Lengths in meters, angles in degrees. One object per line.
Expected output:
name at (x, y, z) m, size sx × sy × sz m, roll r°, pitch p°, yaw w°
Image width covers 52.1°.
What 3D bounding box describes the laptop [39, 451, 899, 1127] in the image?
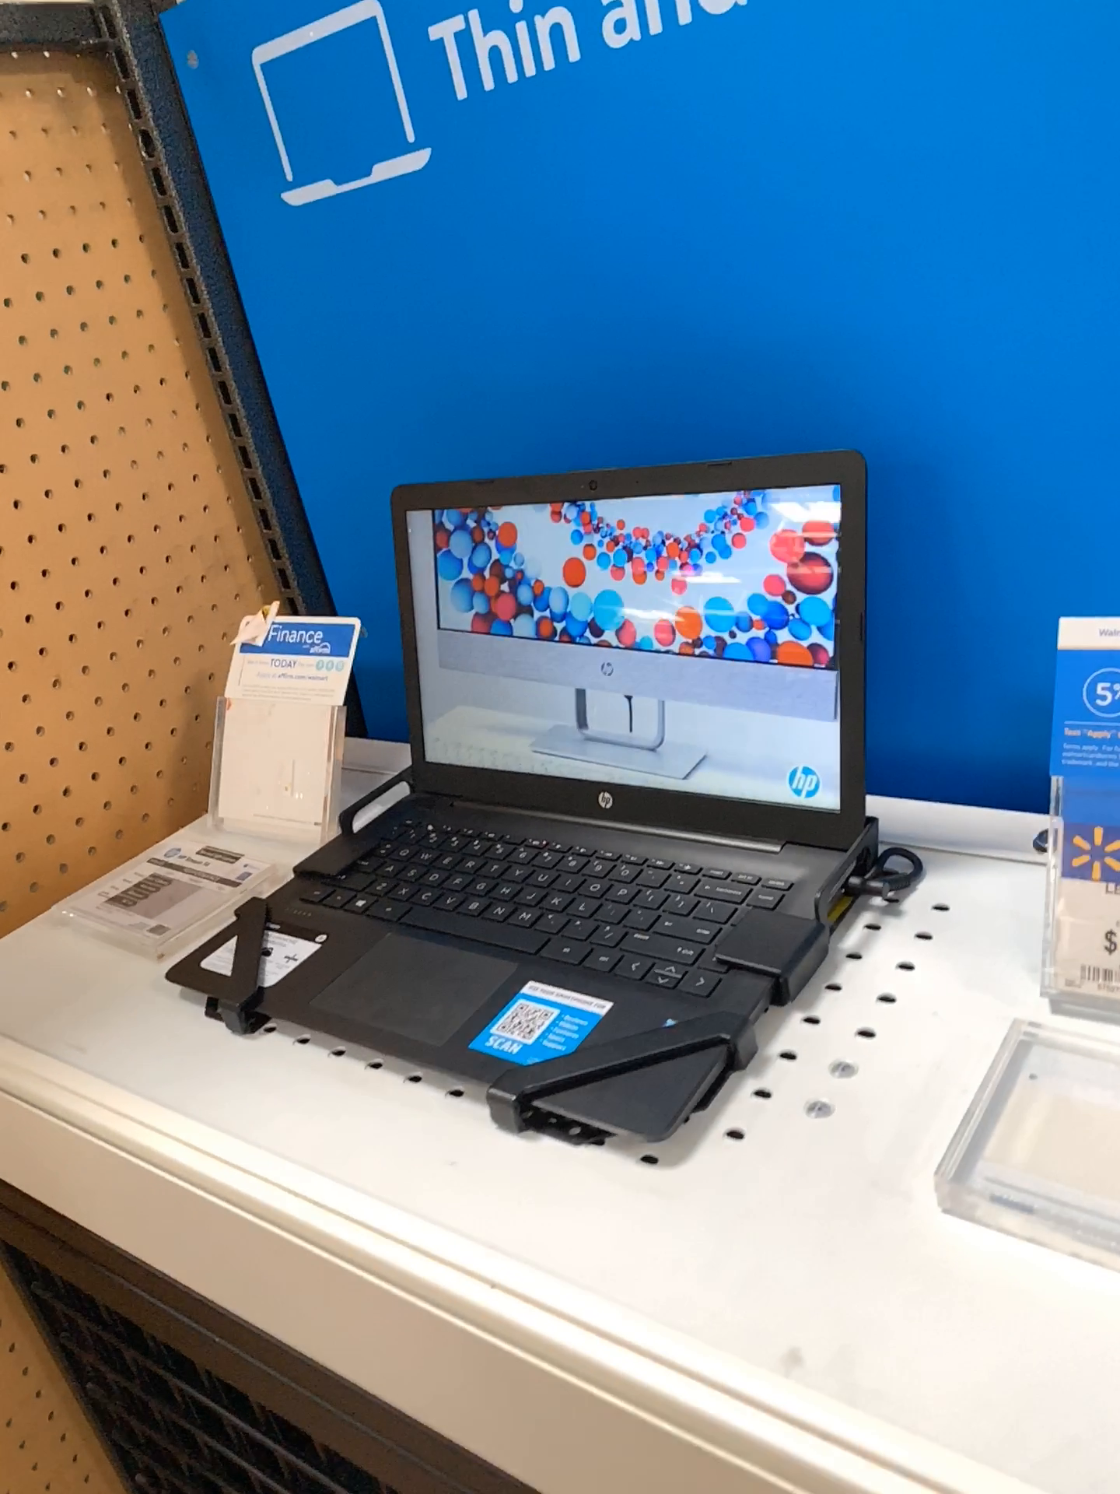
laptop at (-0.035, -0.010, 0.613) m, size 0.327 × 0.203 × 0.270 m, roll 5°, pitch 29°, yaw 36°
